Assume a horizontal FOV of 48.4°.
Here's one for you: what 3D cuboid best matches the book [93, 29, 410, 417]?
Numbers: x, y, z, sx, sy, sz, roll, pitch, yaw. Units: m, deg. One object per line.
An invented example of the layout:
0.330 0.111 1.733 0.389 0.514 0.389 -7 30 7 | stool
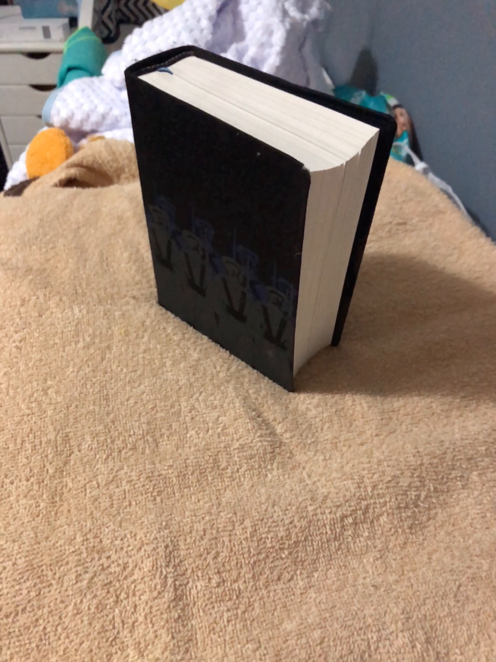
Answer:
-0.005 -0.059 0.335 0.150 0.179 0.060 32 55 25 | book
